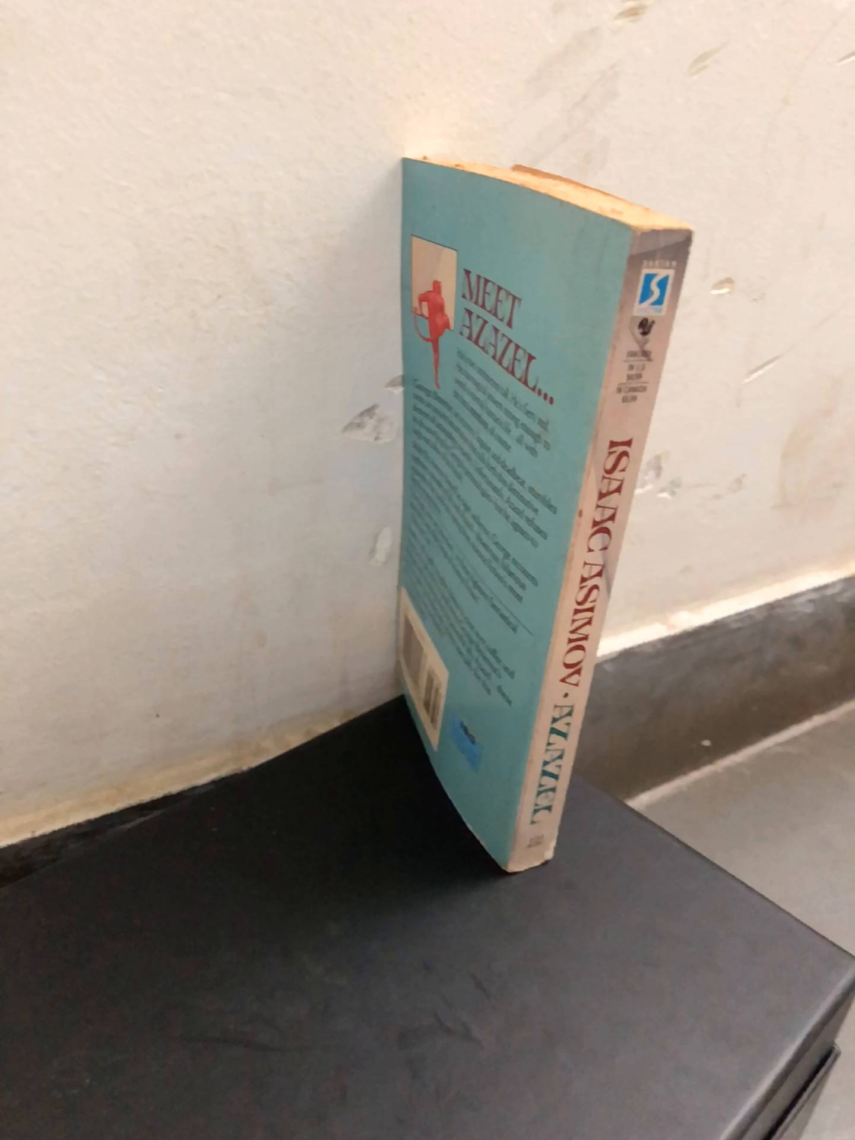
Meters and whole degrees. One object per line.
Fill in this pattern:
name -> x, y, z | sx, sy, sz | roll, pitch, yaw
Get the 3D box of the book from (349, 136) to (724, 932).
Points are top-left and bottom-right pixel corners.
book -> 0.013, -0.019, 0.287 | 0.030, 0.189, 0.151 | -9, 31, -19
